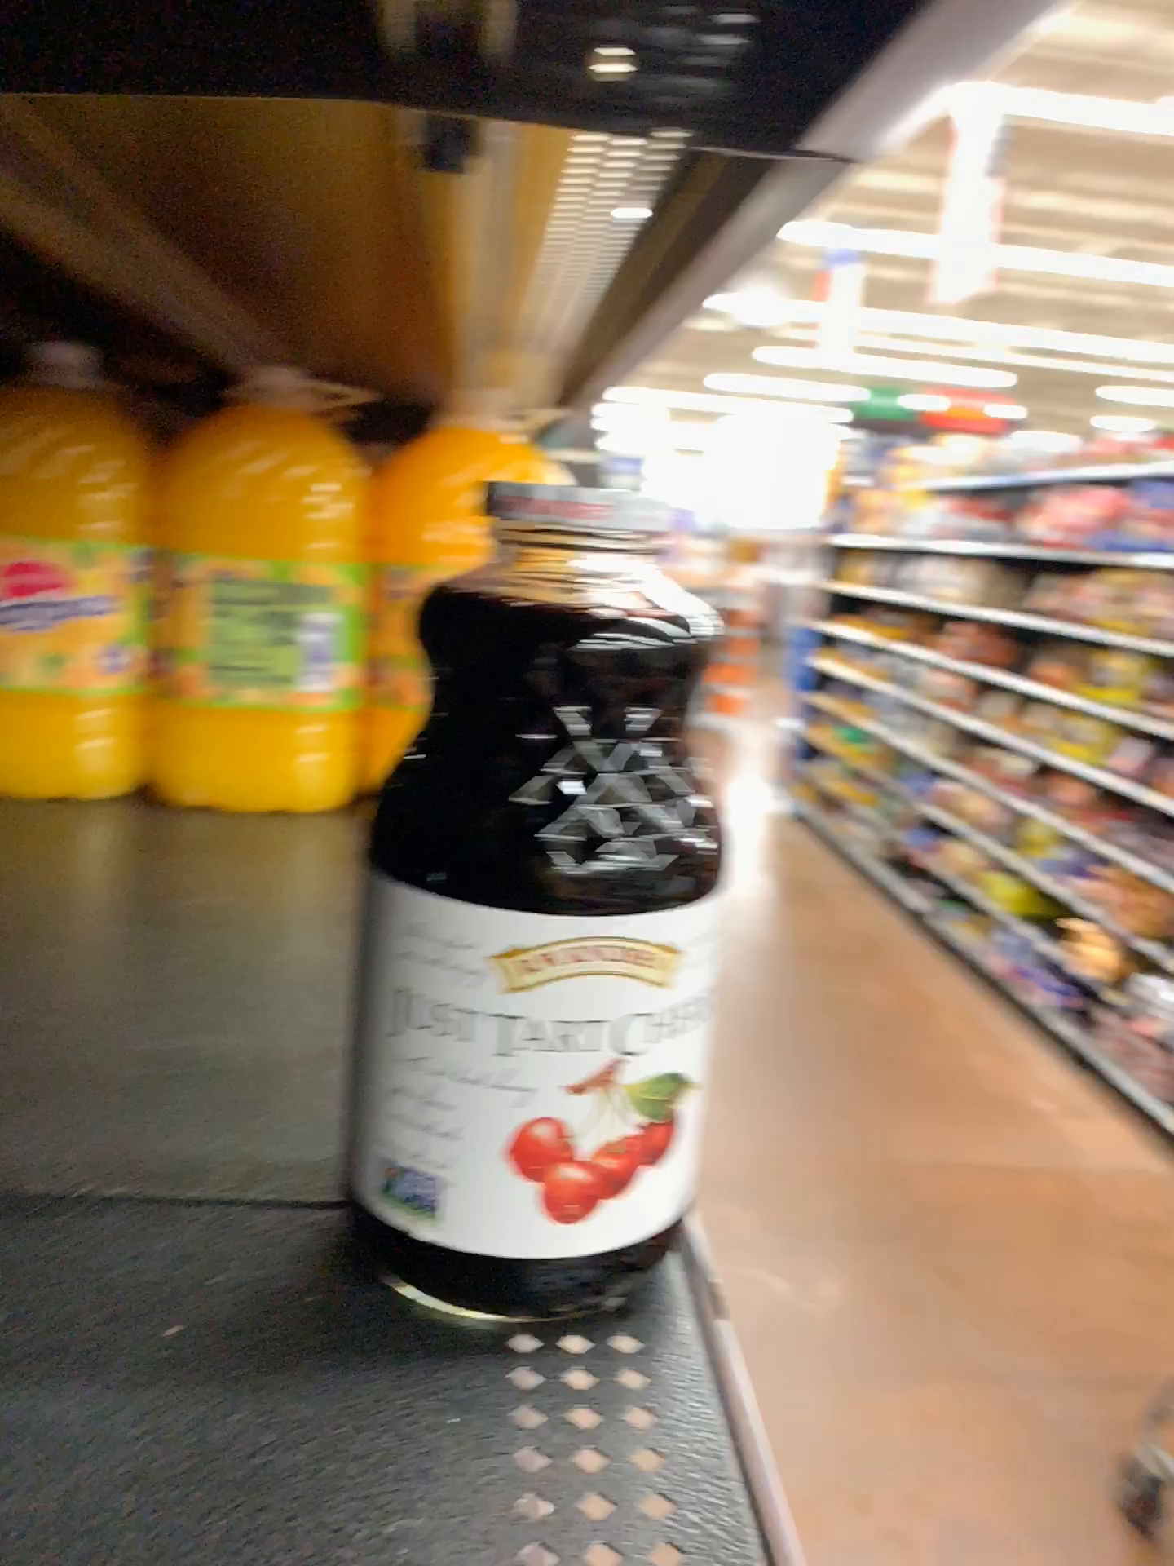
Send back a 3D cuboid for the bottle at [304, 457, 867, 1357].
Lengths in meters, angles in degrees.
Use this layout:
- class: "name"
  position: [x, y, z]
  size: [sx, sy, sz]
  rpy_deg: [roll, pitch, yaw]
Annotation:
- class: "bottle"
  position: [-0.013, 0.022, 0.326]
  size: [0.100, 0.199, 0.110]
  rpy_deg: [2, 12, -20]
